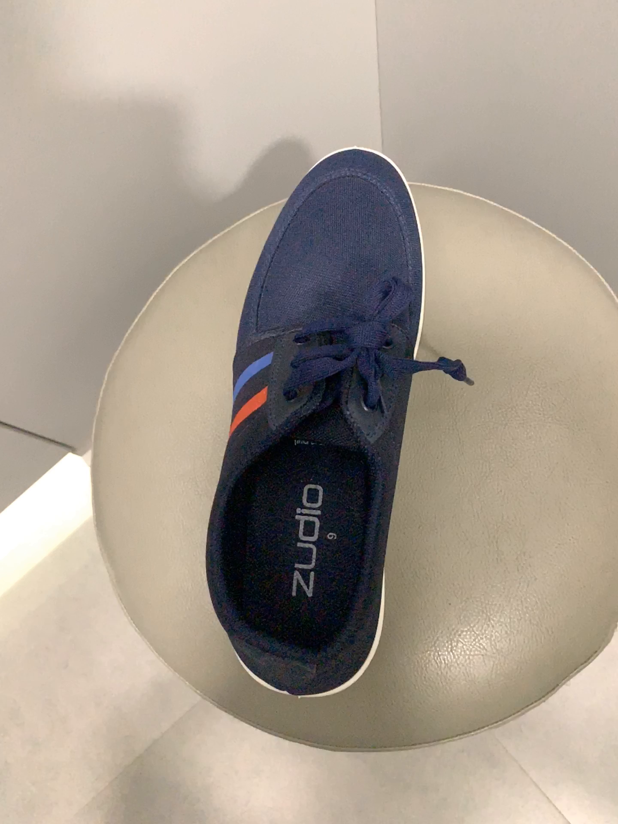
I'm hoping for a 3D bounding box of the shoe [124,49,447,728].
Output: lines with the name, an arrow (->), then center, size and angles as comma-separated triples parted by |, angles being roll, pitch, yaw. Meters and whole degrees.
shoe -> 0.003, -0.019, 0.318 | 0.100, 0.100, 0.290 | 5, 78, 10
